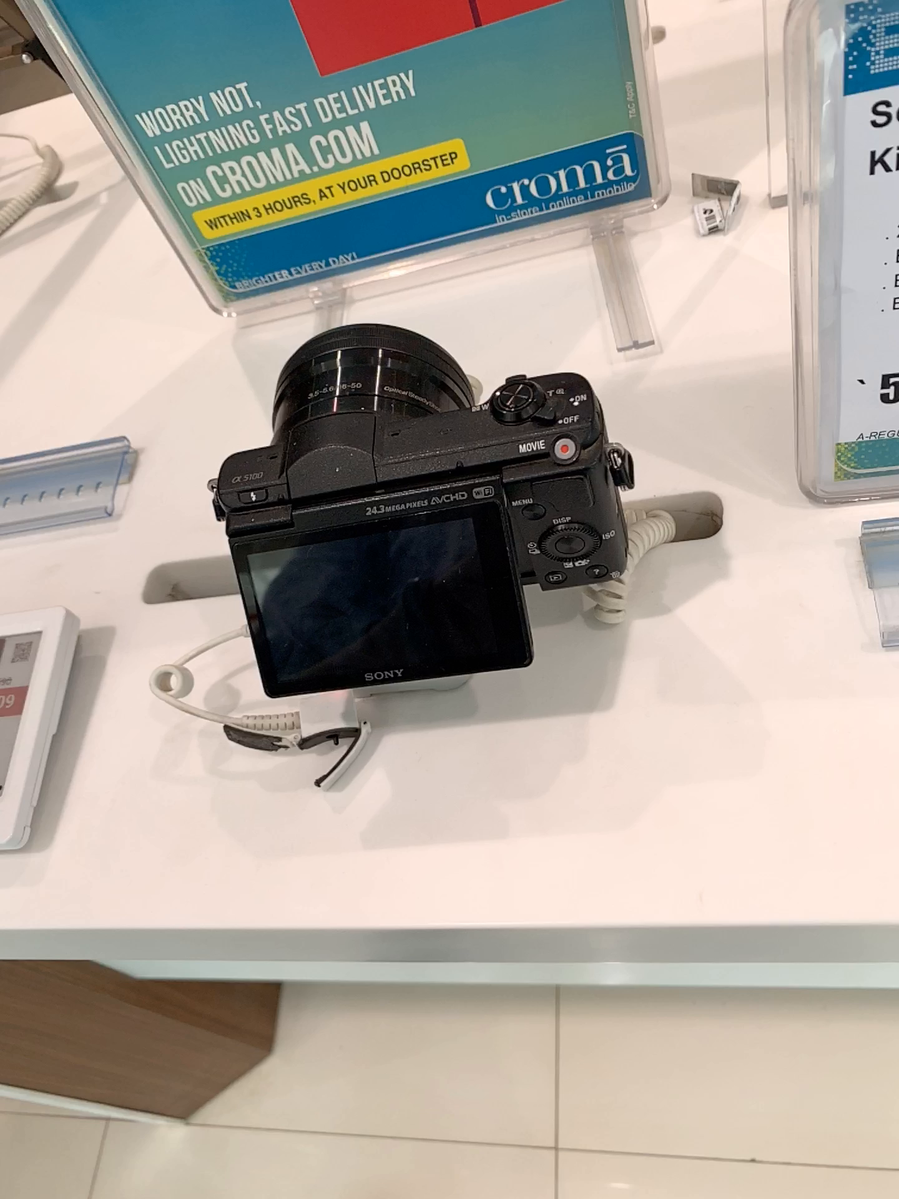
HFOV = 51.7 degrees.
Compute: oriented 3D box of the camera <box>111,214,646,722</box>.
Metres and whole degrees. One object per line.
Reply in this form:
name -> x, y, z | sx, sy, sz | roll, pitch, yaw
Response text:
camera -> -0.011, -0.030, 0.254 | 0.110, 0.082, 0.088 | -8, 54, 15
